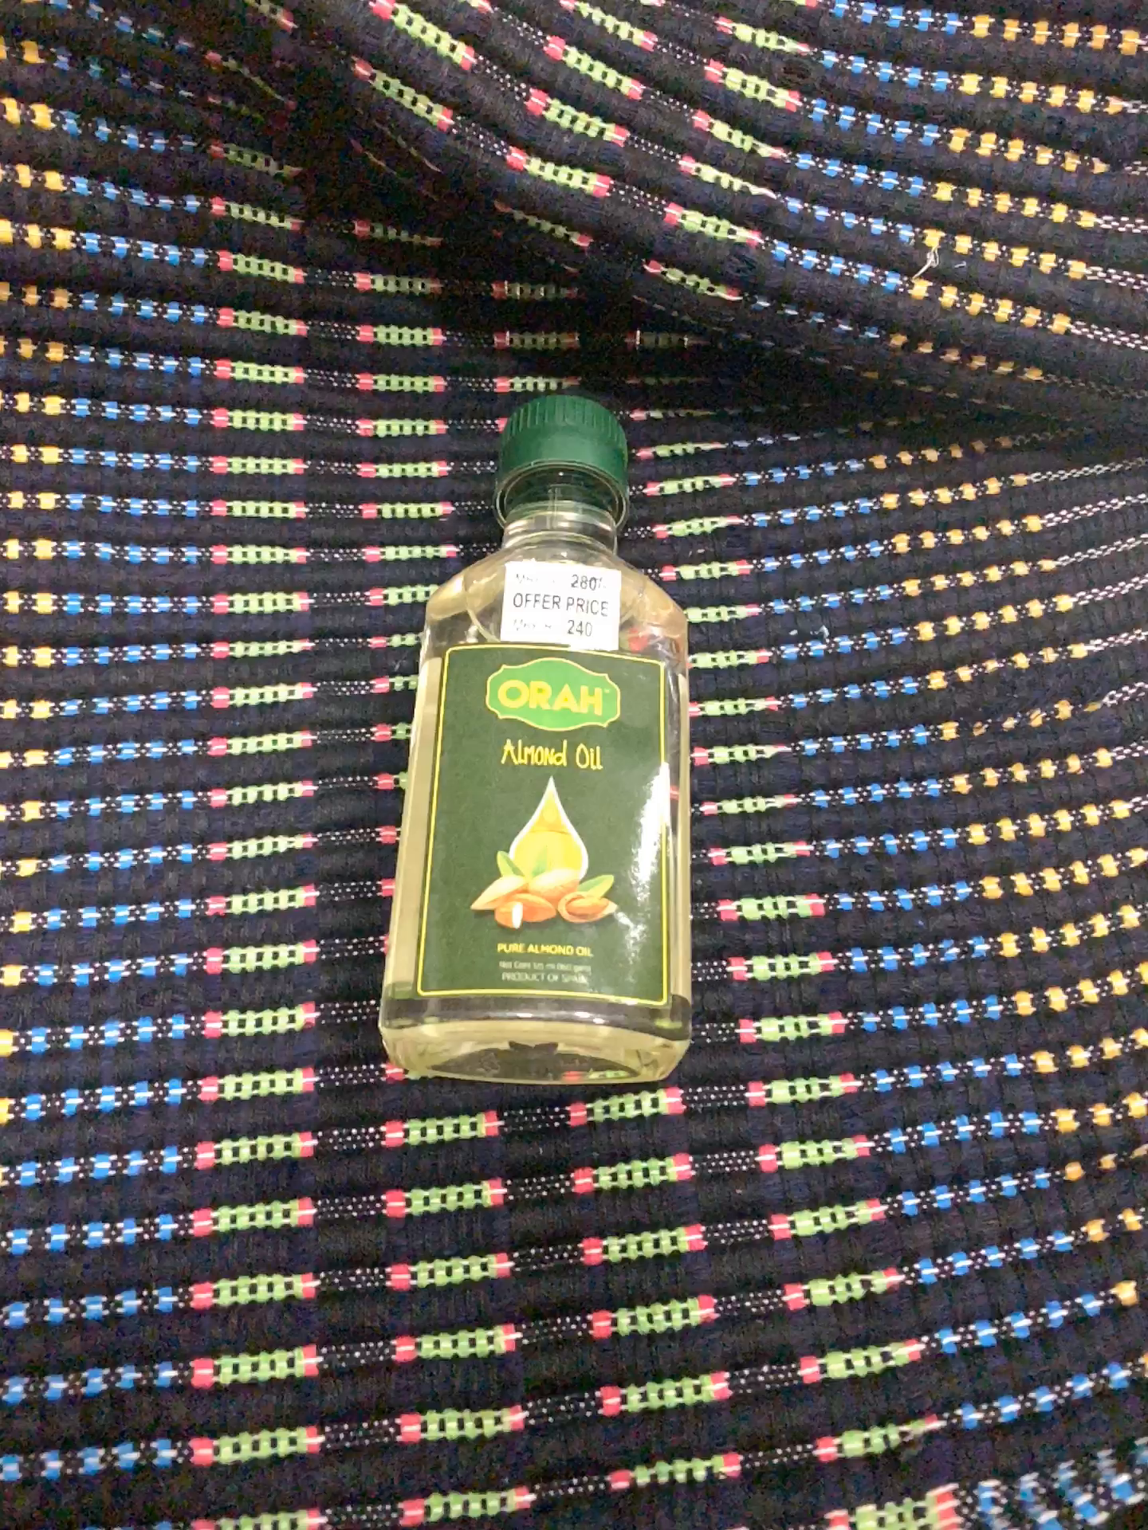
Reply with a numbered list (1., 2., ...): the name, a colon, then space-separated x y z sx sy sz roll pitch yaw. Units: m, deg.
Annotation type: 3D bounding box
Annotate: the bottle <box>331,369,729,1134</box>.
1. bottle: -0.005 -0.010 0.229 0.060 0.030 0.150 3 61 -2
